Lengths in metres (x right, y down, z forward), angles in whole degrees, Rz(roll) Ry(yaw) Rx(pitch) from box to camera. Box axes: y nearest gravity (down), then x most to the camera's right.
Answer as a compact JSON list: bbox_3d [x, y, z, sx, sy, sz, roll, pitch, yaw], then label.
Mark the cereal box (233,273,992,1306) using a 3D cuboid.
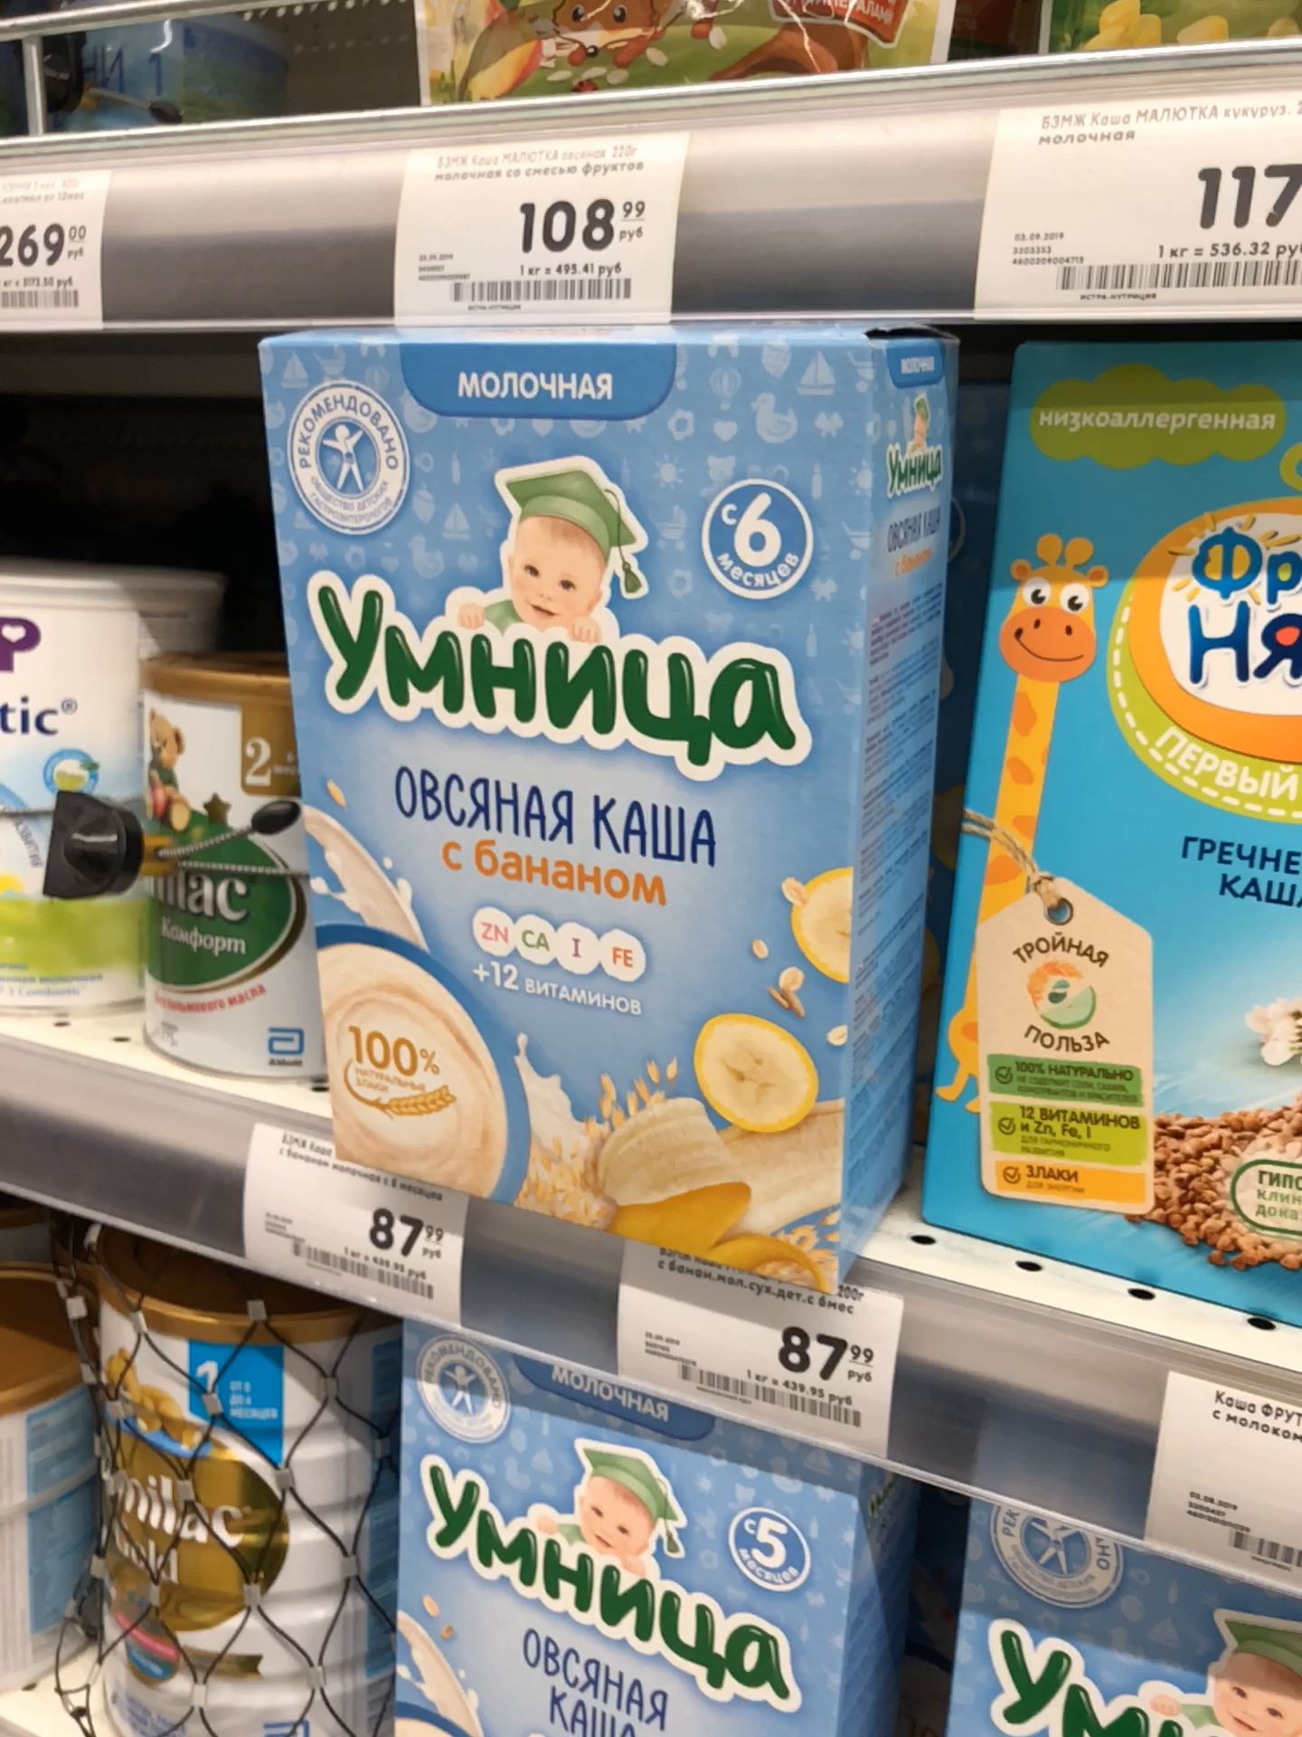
[{"bbox_3d":[-0.007,-0.022,0.341,0.150,0.209,0.060,8,20,25],"label":"cereal box"}]
